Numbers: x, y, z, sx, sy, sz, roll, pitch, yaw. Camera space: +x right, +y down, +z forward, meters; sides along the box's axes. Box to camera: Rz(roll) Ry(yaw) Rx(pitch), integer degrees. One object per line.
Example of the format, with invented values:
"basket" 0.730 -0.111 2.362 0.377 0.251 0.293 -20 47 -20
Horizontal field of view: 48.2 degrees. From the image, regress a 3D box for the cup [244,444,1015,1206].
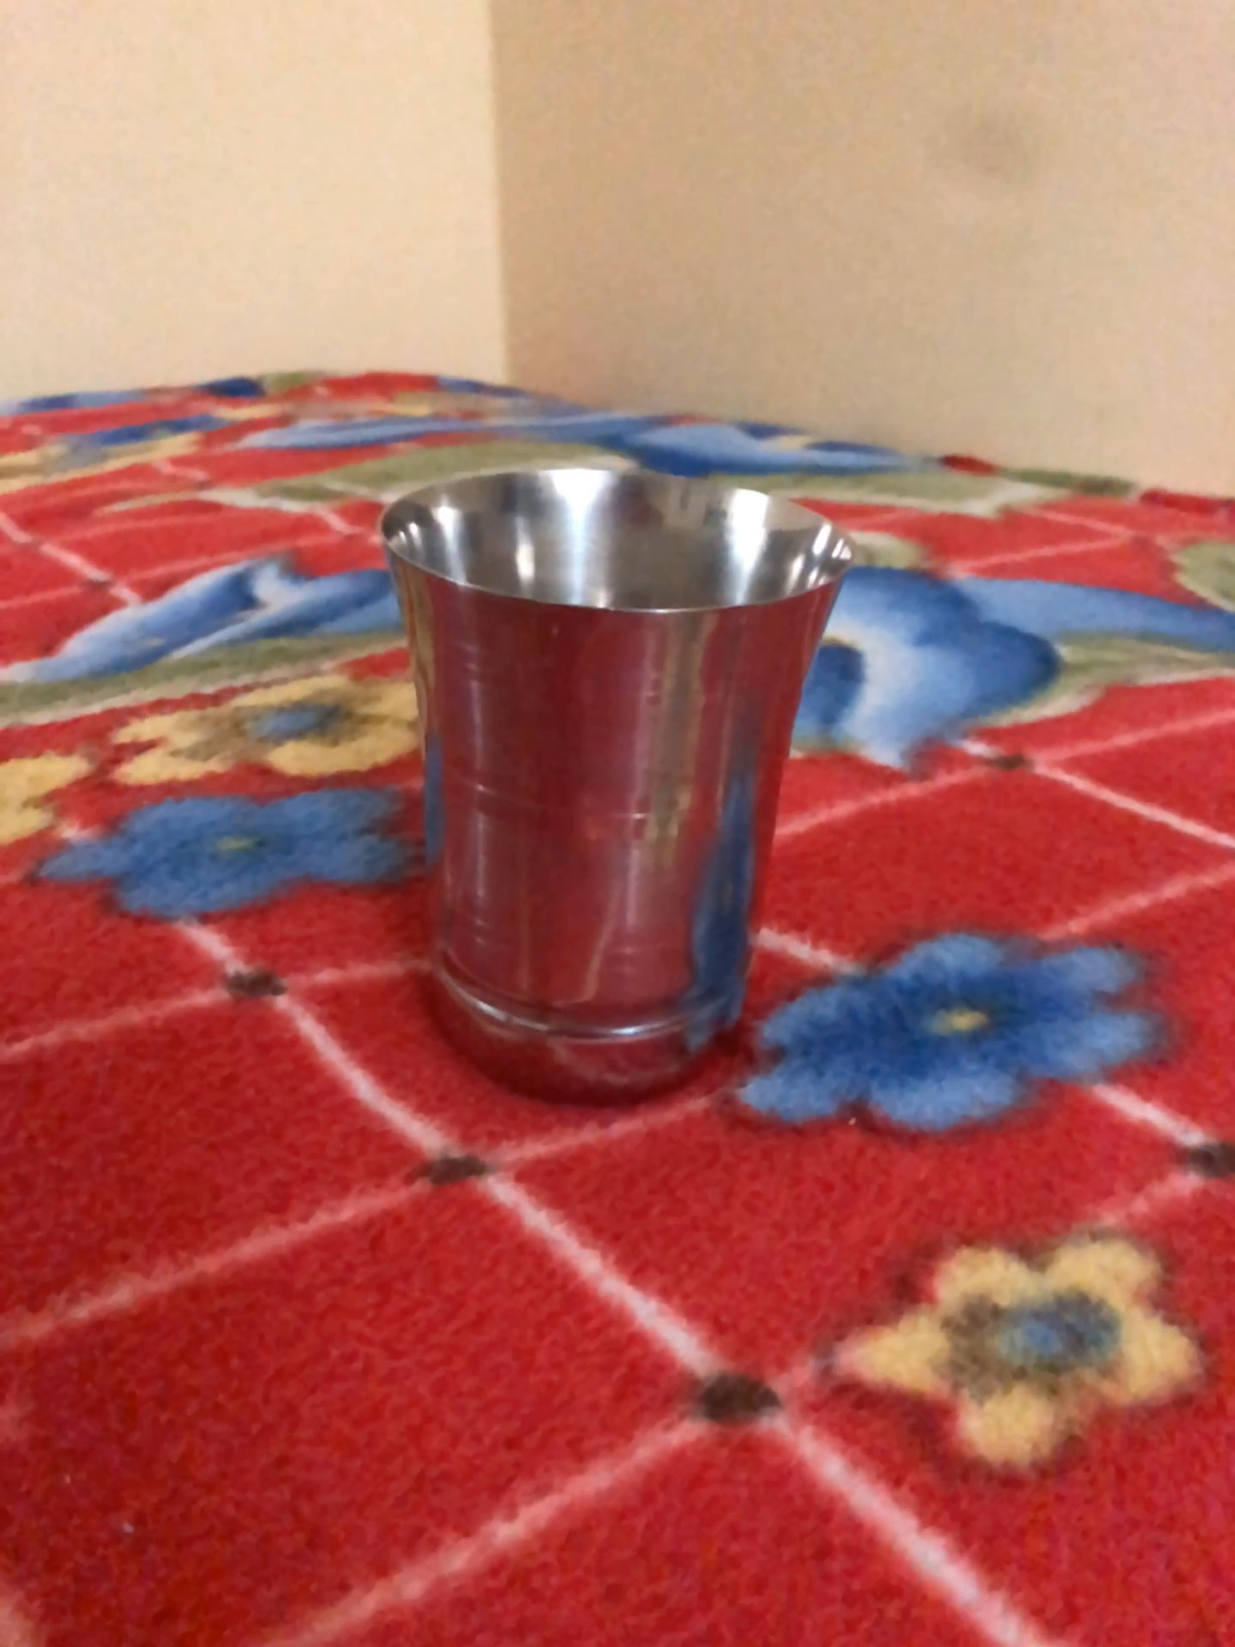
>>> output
"cup" -0.002 -0.010 0.239 0.089 0.090 0.087 3 24 -1
